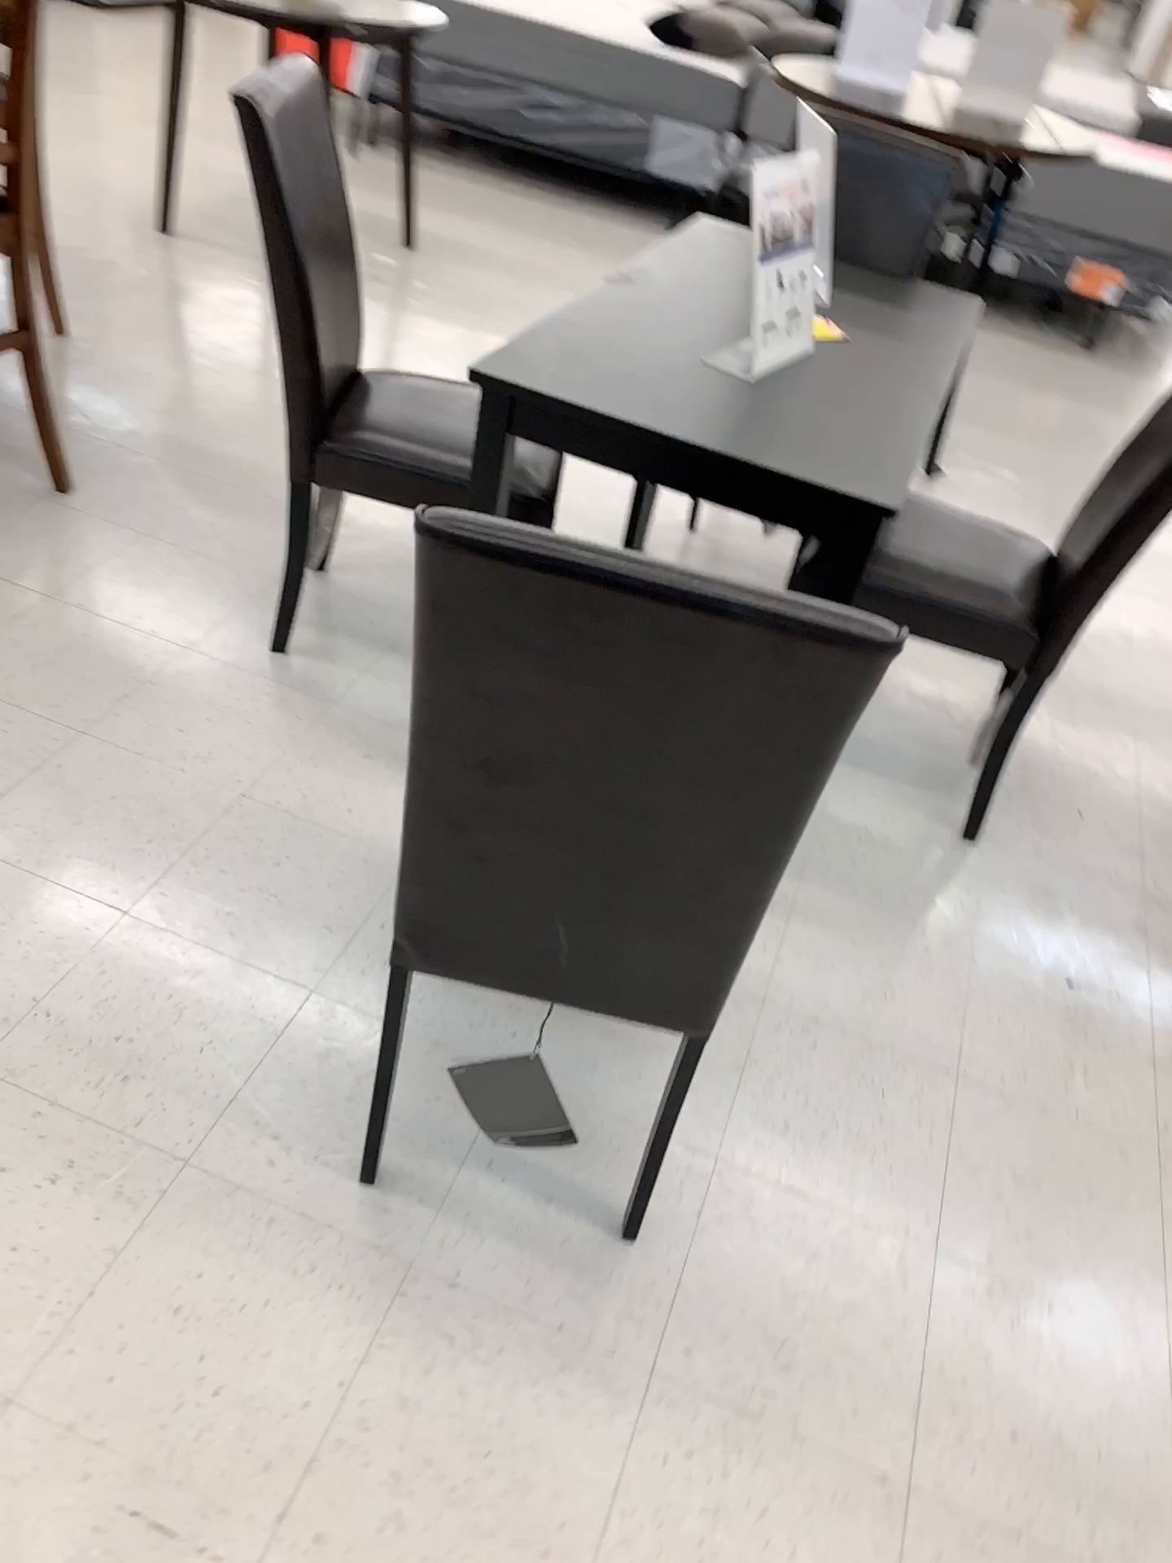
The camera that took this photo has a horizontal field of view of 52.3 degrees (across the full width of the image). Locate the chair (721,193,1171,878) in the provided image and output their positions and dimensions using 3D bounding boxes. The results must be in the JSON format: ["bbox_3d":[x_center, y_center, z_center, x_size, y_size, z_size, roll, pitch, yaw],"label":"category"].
[{"bbox_3d":[0.677,-0.395,2.045,0.594,0.930,0.416,19,39,7],"label":"chair"}]

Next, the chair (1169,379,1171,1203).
[{"bbox_3d":[1.435,0.040,1.736,0.664,0.950,0.467,19,39,6],"label":"chair"}]

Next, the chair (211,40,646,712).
[{"bbox_3d":[-0.291,-0.668,2.089,0.594,0.930,0.416,11,39,-4],"label":"chair"}]

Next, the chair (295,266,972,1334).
[{"bbox_3d":[0.006,0.045,1.306,0.424,0.930,0.597,14,38,0],"label":"chair"}]

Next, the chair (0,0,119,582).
[{"bbox_3d":[-1.280,-0.990,2.129,0.645,0.980,0.466,27,40,16],"label":"chair"}]

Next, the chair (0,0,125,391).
[{"bbox_3d":[-1.480,-1.513,2.681,0.464,0.980,0.647,25,40,14],"label":"chair"}]
